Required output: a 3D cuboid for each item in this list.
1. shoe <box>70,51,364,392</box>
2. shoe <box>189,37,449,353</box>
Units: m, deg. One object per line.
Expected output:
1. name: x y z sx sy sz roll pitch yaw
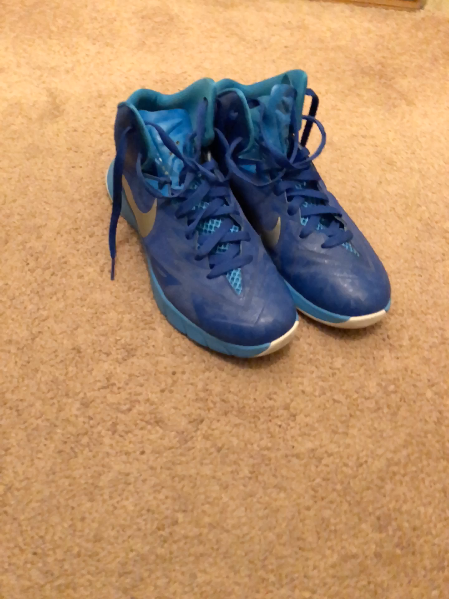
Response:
1. shoe: -0.025 -0.083 0.453 0.120 0.134 0.279 -22 60 -20
2. shoe: 0.088 -0.113 0.485 0.122 0.134 0.280 -24 61 -21
